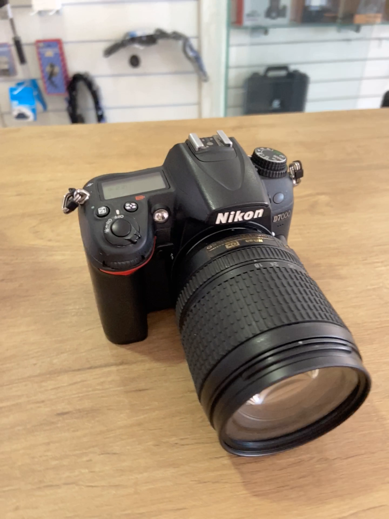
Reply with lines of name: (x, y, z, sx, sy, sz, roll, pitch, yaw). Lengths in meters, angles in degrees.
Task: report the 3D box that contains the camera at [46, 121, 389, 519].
camera: (0.012, 0.013, 0.211, 0.140, 0.099, 0.161, -13, 40, -14)
